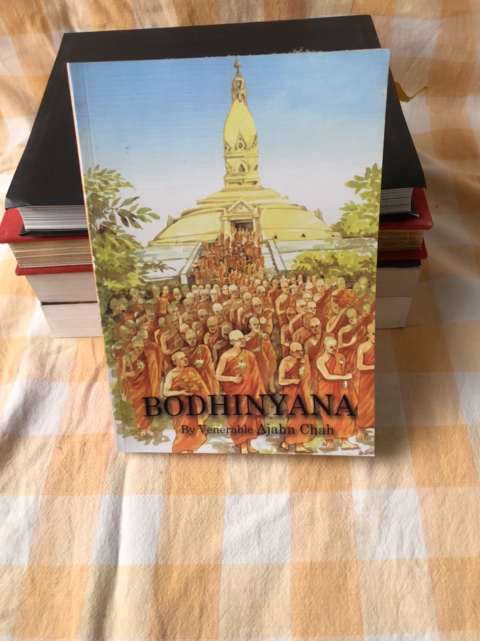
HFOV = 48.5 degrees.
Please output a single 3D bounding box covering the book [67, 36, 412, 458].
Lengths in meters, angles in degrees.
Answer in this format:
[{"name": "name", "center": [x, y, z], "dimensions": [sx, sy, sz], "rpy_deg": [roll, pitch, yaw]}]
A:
[{"name": "book", "center": [0.000, -0.029, 0.273], "dimensions": [0.150, 0.200, 0.030], "rpy_deg": [1, 17, 5]}]
